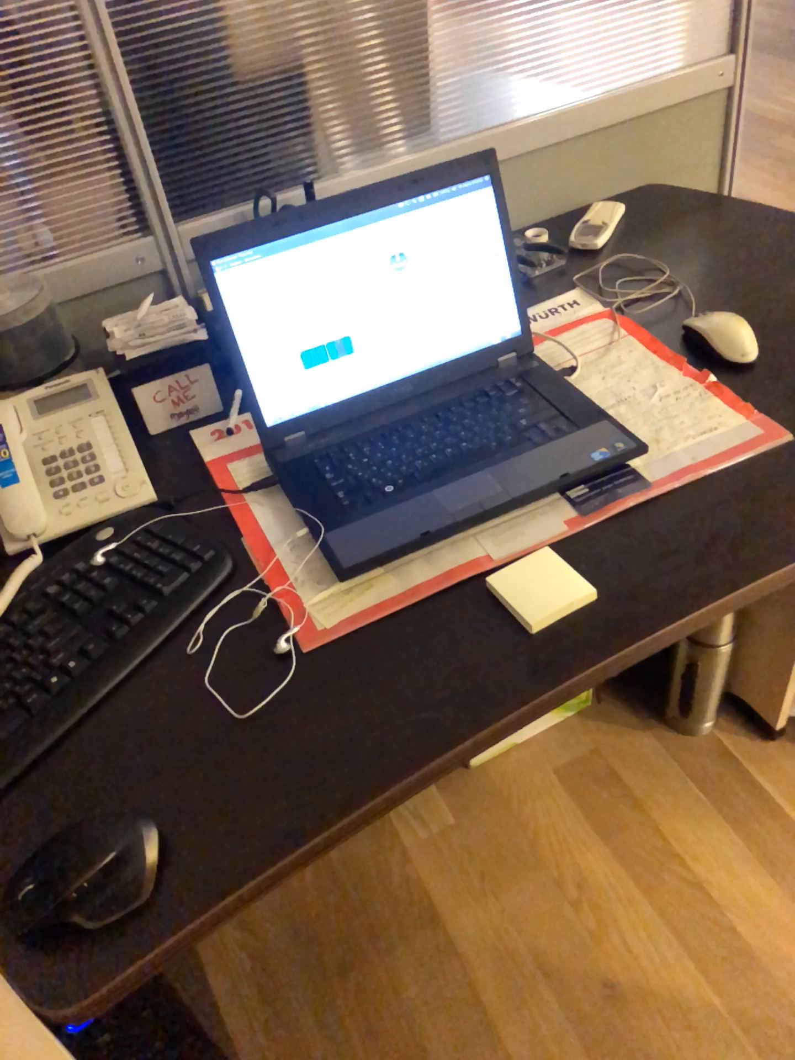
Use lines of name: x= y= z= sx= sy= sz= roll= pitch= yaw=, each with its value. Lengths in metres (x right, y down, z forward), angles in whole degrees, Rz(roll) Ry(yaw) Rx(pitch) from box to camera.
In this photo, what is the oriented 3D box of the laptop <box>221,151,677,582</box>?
laptop: x=0.043 y=-0.167 z=0.815 sx=0.317 sy=0.209 sz=0.256 roll=-23 pitch=44 yaw=-13
